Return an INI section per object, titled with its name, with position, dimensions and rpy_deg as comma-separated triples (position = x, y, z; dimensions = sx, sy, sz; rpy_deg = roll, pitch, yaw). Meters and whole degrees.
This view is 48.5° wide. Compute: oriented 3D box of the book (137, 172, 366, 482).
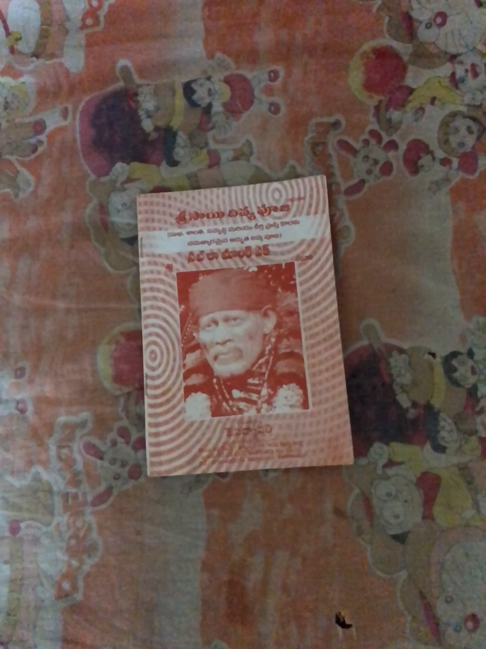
[book]
position = 0.001, -0.001, 0.315
dimensions = 0.120, 0.010, 0.173
rpy_deg = -4, 80, 3
